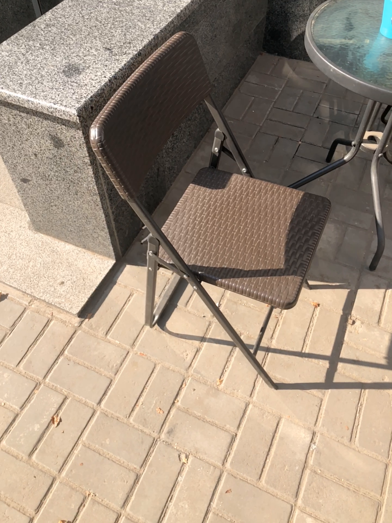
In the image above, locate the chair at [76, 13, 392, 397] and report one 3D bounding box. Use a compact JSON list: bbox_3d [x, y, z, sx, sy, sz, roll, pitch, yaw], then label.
[{"bbox_3d":[0.101,-0.082,1.086,0.460,0.787,0.431,18,55,14],"label":"chair"}]
